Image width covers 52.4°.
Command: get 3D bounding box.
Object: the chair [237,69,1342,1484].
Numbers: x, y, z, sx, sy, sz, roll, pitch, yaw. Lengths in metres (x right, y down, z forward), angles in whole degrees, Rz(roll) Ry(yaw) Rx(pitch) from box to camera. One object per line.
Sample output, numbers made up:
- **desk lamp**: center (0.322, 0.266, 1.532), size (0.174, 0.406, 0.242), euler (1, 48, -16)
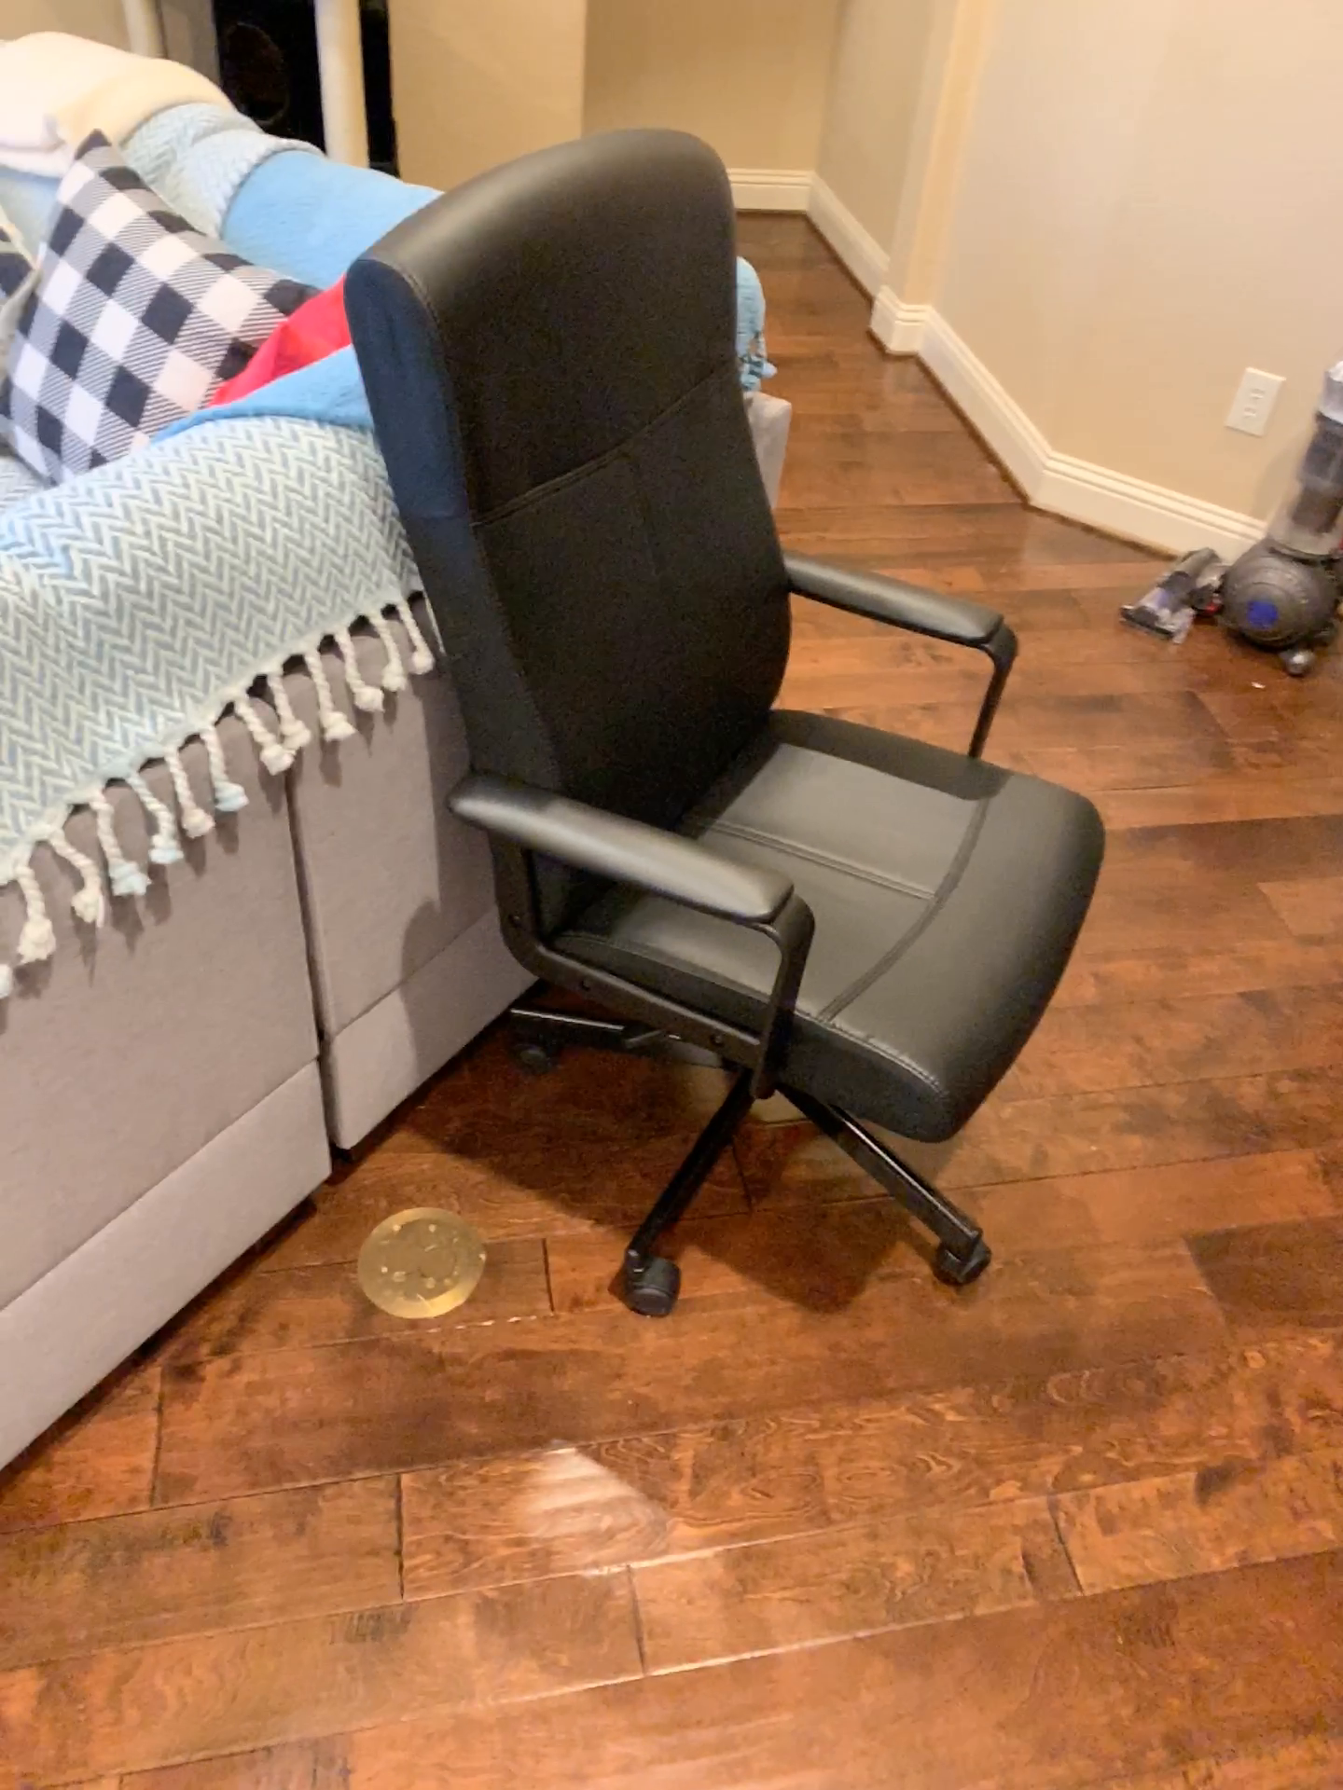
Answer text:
- **chair**: center (0.166, -0.134, 1.417), size (0.760, 1.037, 0.737), euler (26, 46, 19)
